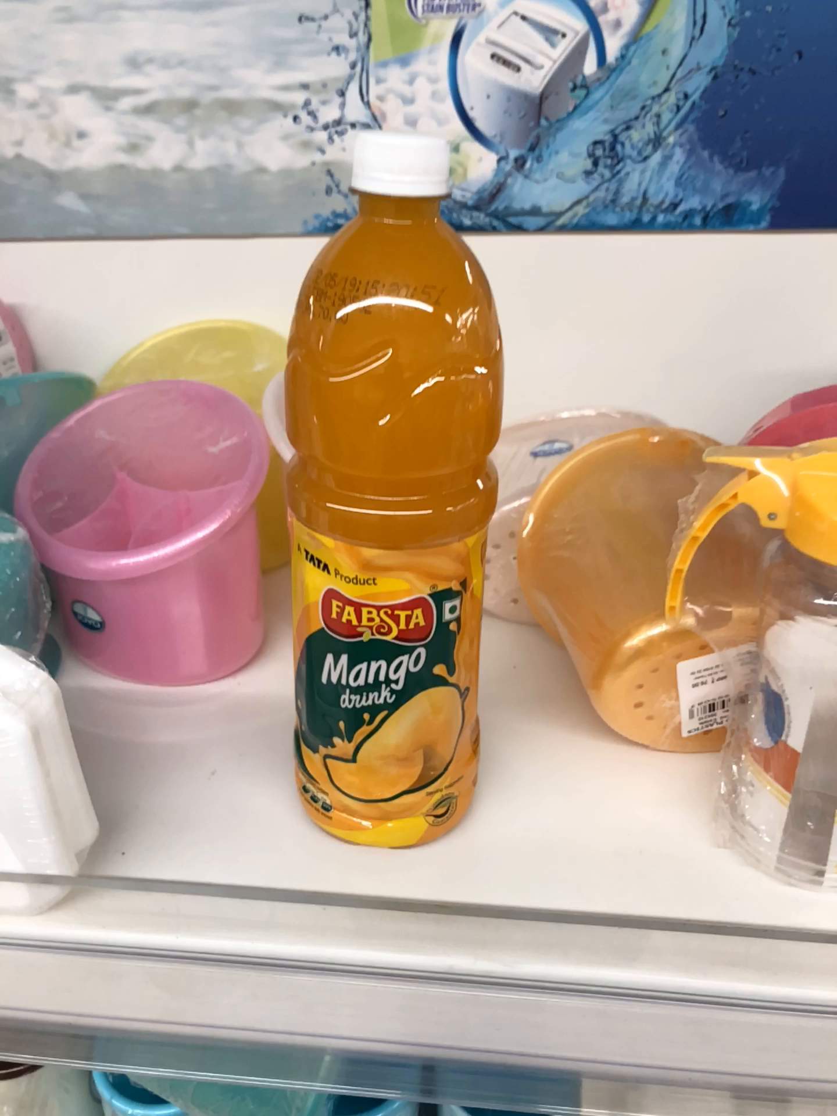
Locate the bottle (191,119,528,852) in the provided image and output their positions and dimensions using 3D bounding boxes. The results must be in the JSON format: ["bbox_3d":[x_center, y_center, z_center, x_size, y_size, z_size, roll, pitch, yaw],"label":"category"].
[{"bbox_3d":[-0.011,-0.016,0.344,0.090,0.258,0.081,0,29,2],"label":"bottle"}]
